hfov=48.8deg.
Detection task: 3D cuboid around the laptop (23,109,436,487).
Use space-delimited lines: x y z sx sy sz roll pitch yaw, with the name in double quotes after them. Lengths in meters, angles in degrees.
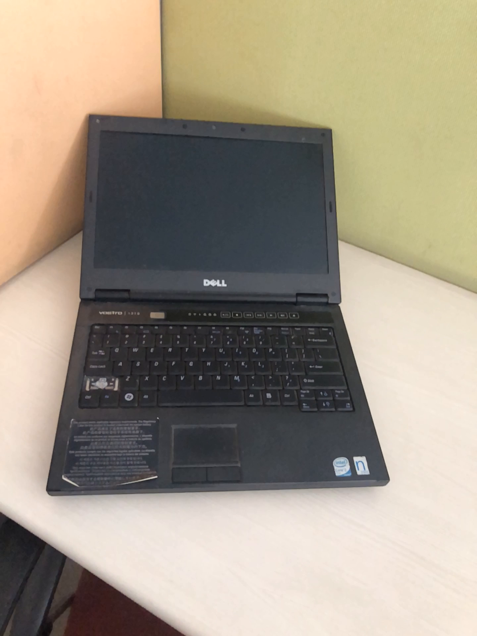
-0.021 -0.058 0.575 0.305 0.125 0.432 0 47 -8 "laptop"
